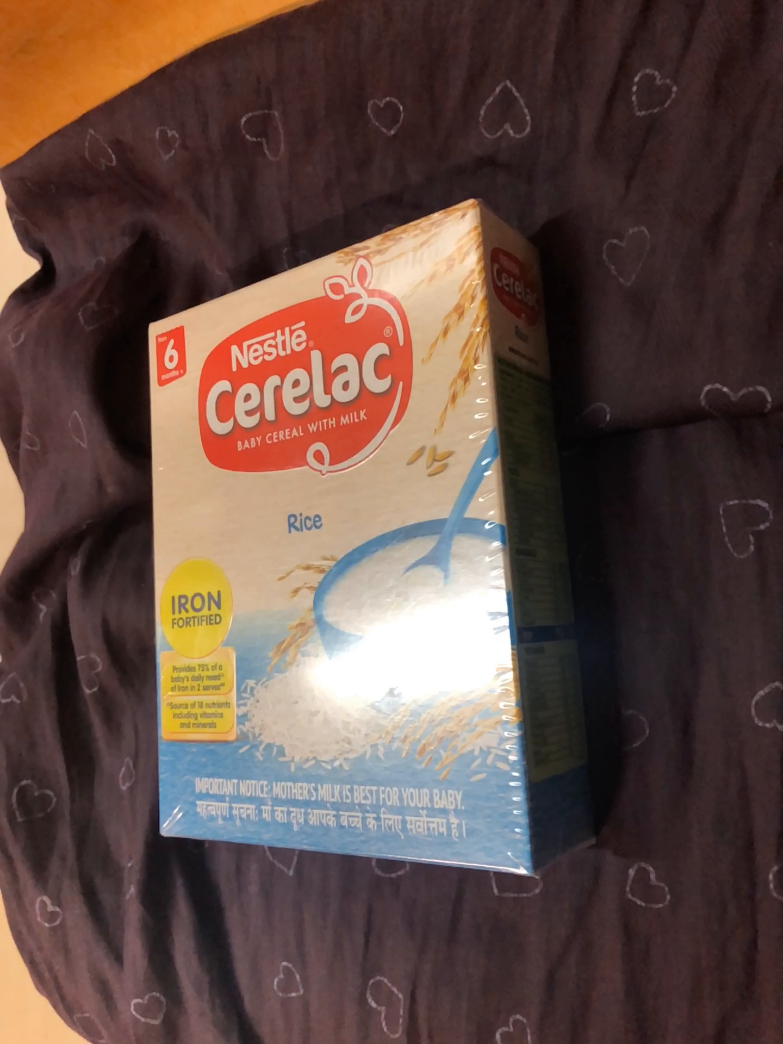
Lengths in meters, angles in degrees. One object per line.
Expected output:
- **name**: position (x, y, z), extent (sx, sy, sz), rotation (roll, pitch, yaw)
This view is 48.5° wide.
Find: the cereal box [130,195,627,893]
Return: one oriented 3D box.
- **cereal box**: position (-0.013, 0.014, 0.321), extent (0.160, 0.070, 0.200), rotation (-9, 81, 34)
